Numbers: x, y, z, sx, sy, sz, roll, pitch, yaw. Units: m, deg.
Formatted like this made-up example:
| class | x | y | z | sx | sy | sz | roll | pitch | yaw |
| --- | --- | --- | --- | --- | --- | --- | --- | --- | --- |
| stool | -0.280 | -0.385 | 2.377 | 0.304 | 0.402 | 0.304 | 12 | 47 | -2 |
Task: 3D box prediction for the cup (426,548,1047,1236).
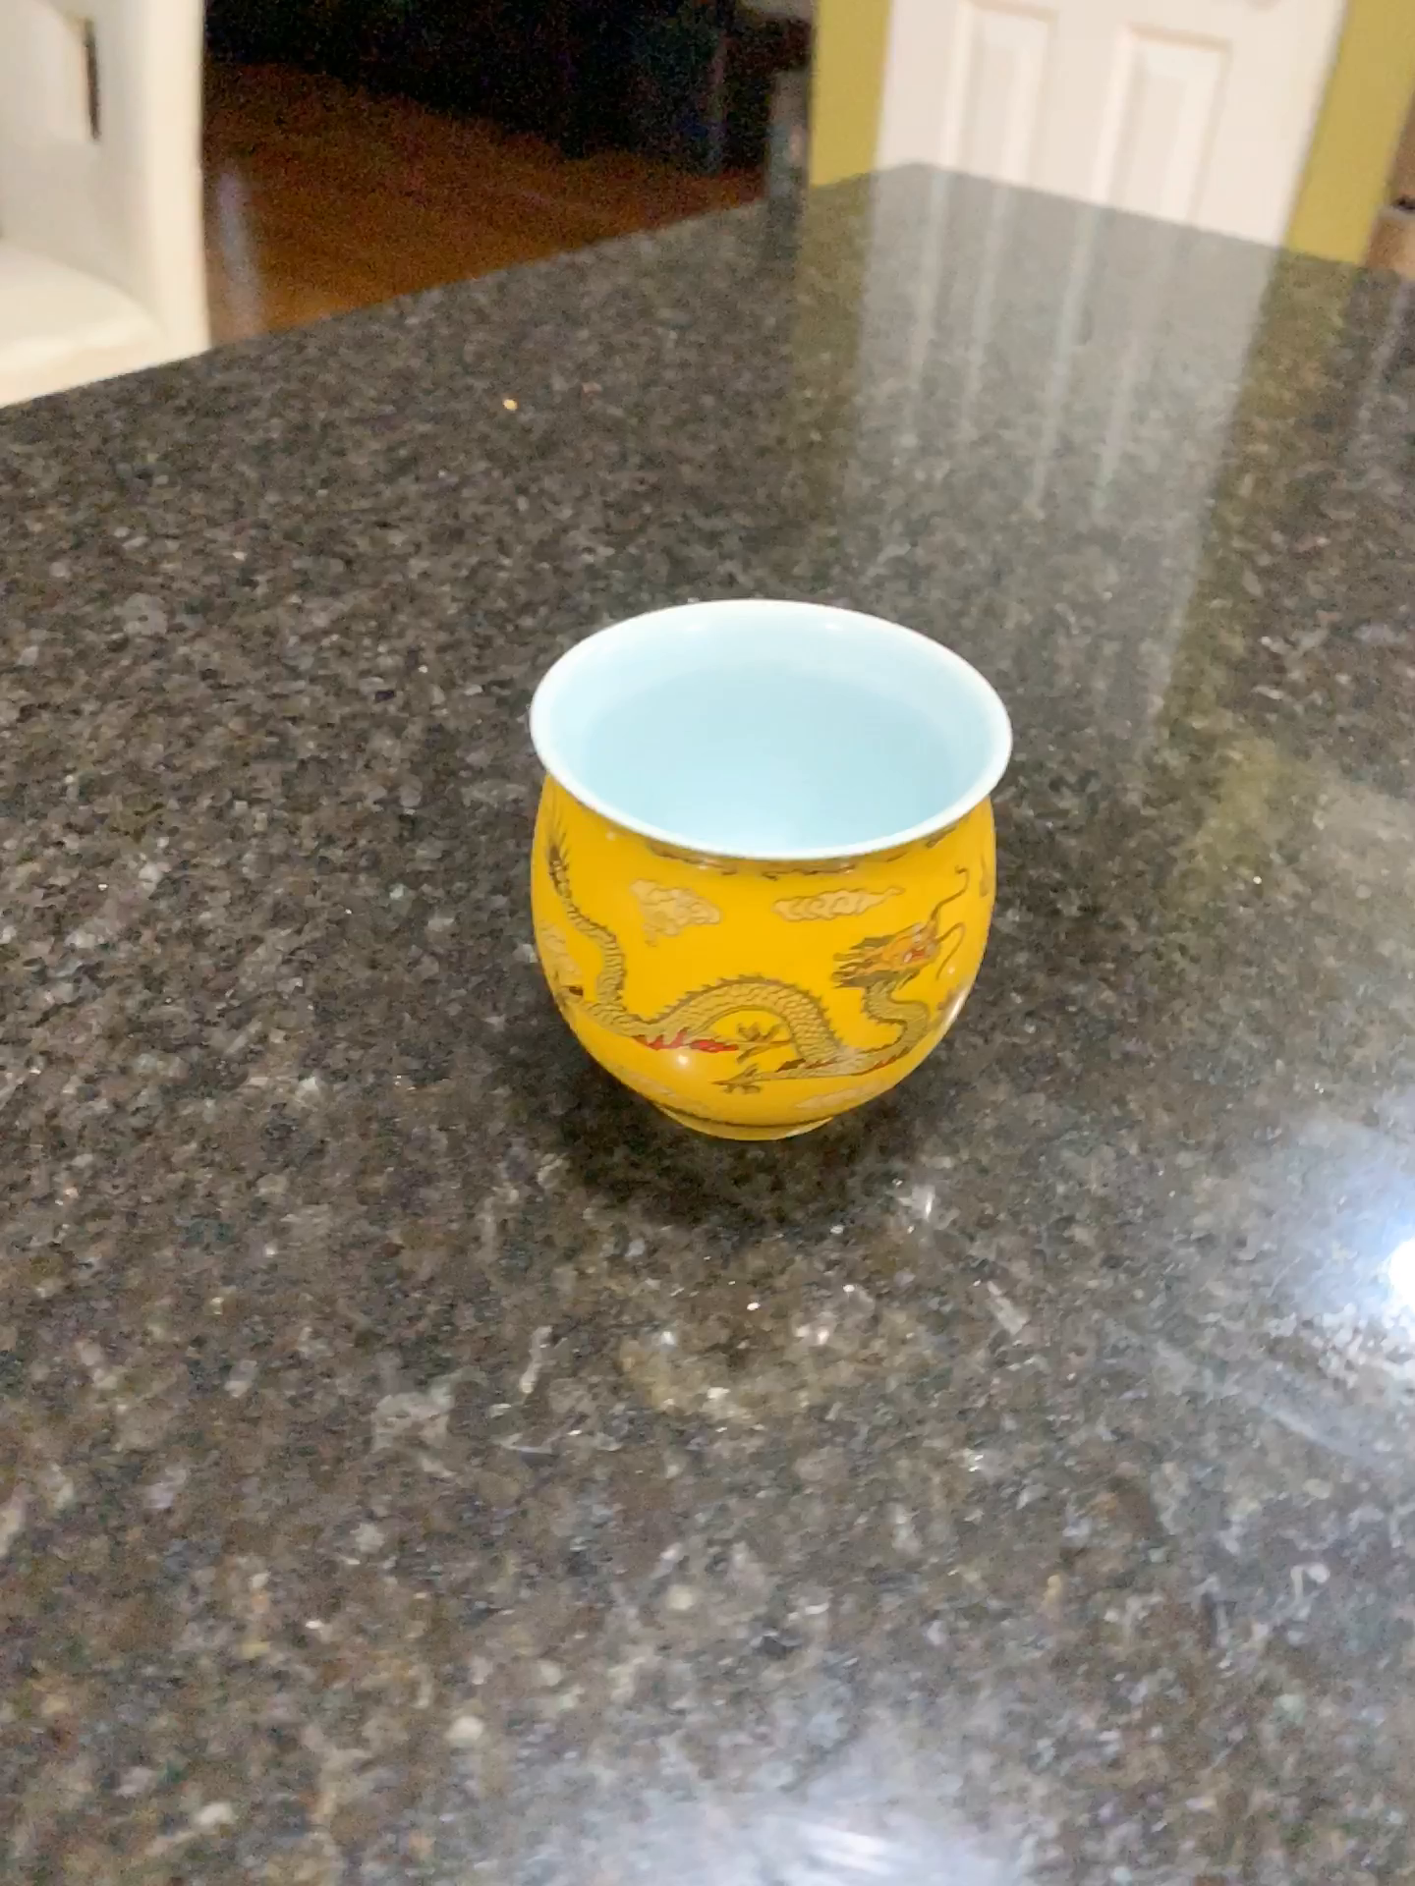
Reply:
| class | x | y | z | sx | sy | sz | roll | pitch | yaw |
| --- | --- | --- | --- | --- | --- | --- | --- | --- | --- |
| cup | 0.008 | -0.011 | 0.227 | 0.075 | 0.066 | 0.073 | 1 | 40 | -1 |
